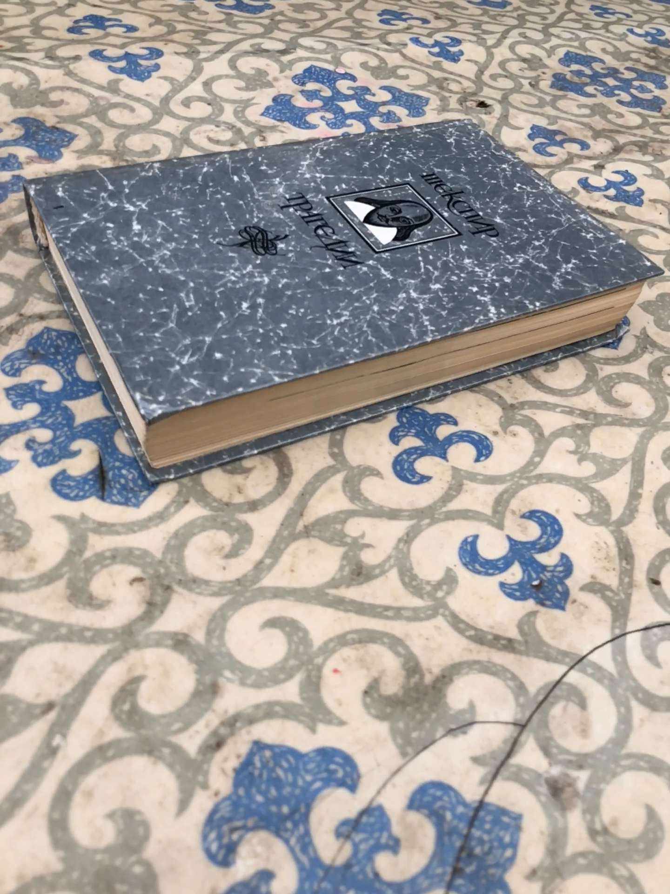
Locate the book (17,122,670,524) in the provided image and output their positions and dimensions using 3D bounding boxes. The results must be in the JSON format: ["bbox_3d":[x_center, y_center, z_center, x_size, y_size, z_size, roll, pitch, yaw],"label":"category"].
[{"bbox_3d":[0.005,-0.065,0.284,0.207,0.033,0.135,-18,53,-23],"label":"book"}]
